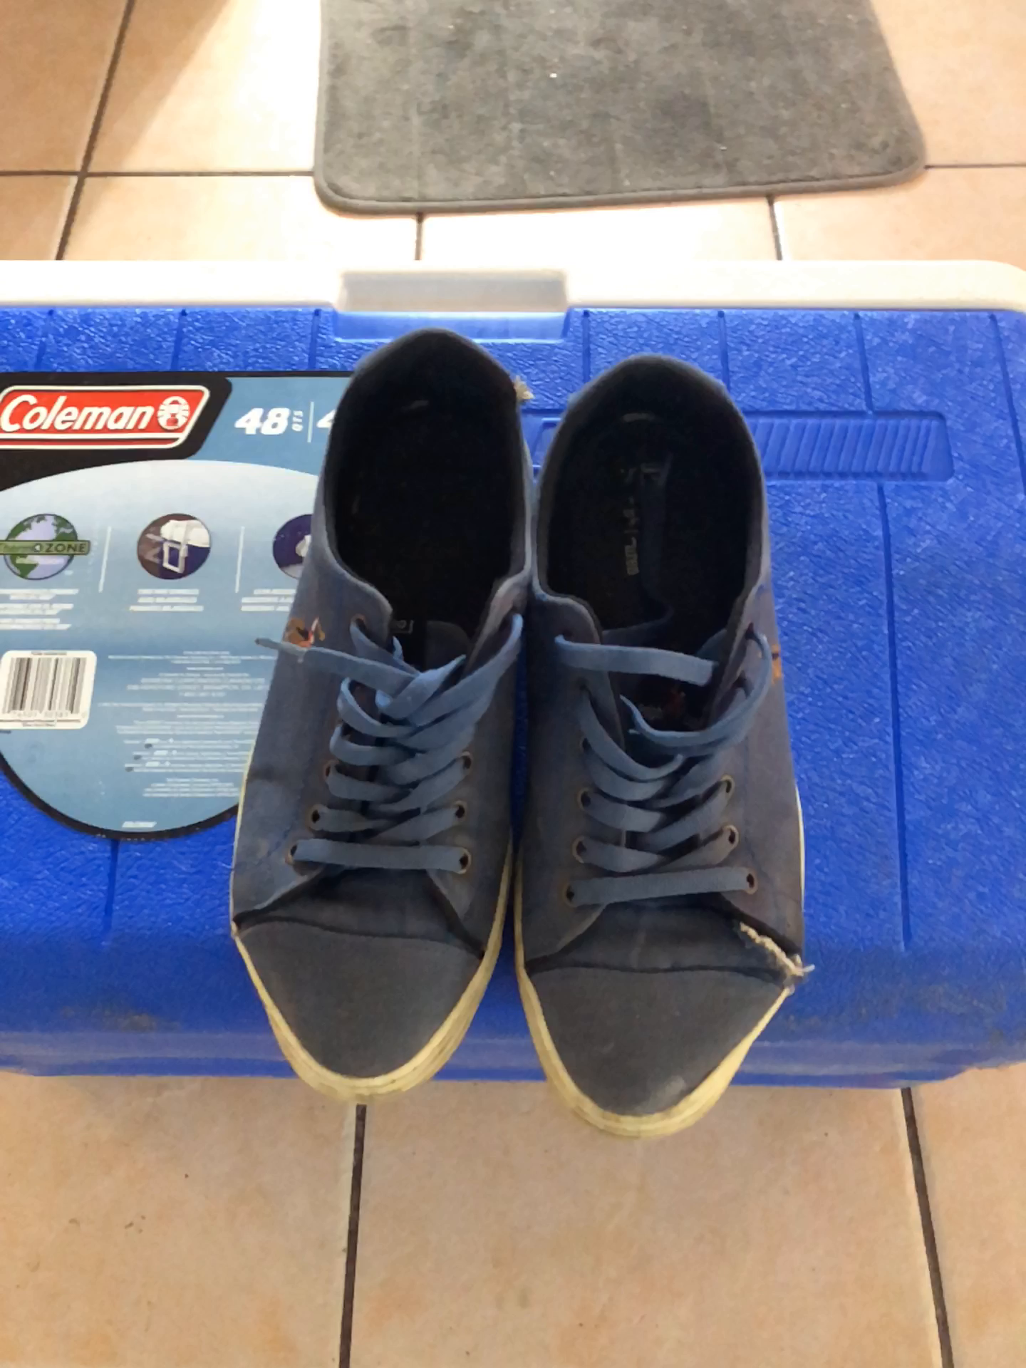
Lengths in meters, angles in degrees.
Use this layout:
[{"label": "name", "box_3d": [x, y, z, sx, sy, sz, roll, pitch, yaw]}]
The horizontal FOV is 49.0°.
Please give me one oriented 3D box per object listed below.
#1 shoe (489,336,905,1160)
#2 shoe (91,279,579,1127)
[{"label": "shoe", "box_3d": [0.049, 0.015, 0.390, 0.107, 0.090, 0.271, 0, 64, 1]}, {"label": "shoe", "box_3d": [-0.044, 0.002, 0.392, 0.107, 0.090, 0.271, 5, 69, 4]}]
